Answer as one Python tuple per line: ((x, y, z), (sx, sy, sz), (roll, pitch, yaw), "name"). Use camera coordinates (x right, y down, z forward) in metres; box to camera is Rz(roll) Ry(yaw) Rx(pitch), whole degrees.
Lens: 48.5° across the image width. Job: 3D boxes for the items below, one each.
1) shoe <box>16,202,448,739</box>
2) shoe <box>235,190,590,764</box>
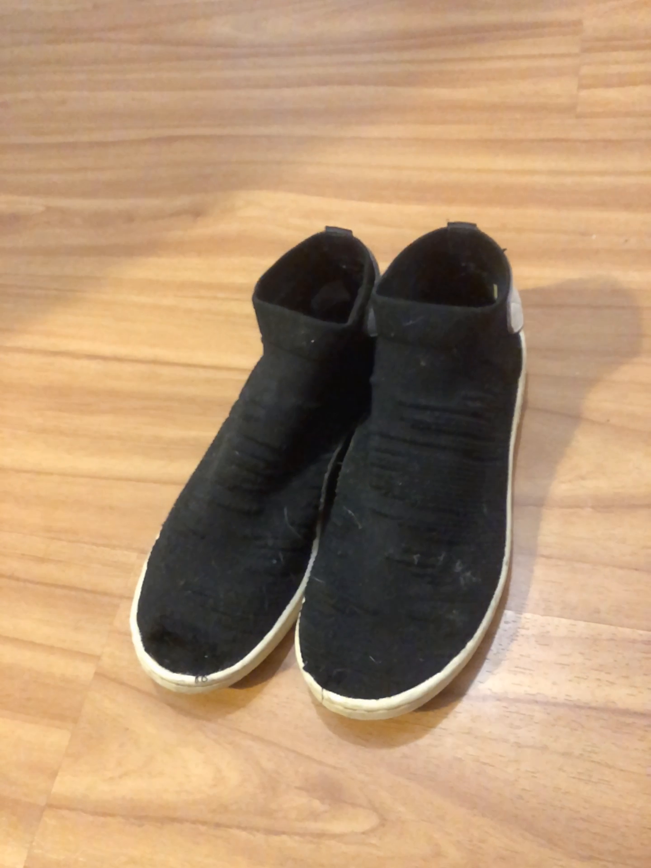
((-0.028, 0.009, 0.395), (0.100, 0.099, 0.261), (17, 64, 21), "shoe")
((0.059, 0.009, 0.366), (0.100, 0.099, 0.261), (10, 62, 18), "shoe")
